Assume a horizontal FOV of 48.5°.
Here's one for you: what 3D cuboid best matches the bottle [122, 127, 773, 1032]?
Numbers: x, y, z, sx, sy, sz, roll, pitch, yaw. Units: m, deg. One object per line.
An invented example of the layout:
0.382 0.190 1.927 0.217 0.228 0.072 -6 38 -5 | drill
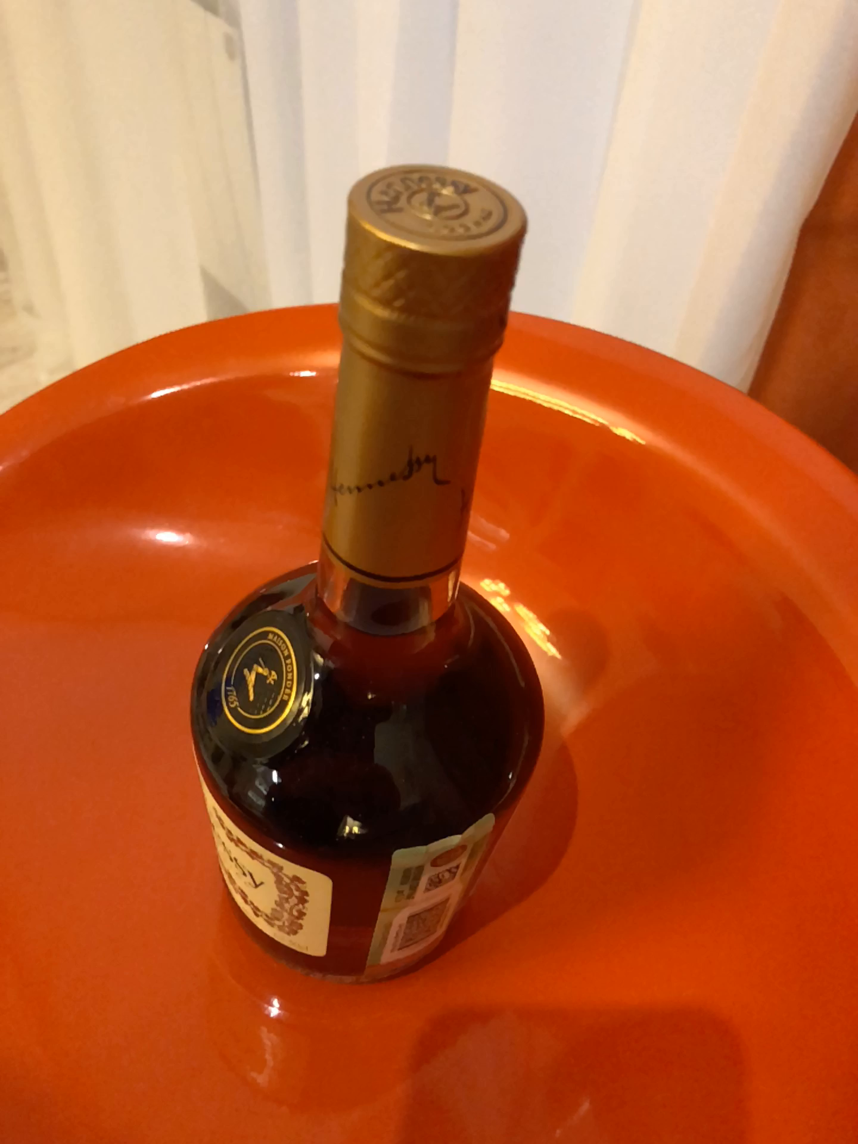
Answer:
-0.014 0.024 0.222 0.079 0.219 0.079 4 48 -4 | bottle
